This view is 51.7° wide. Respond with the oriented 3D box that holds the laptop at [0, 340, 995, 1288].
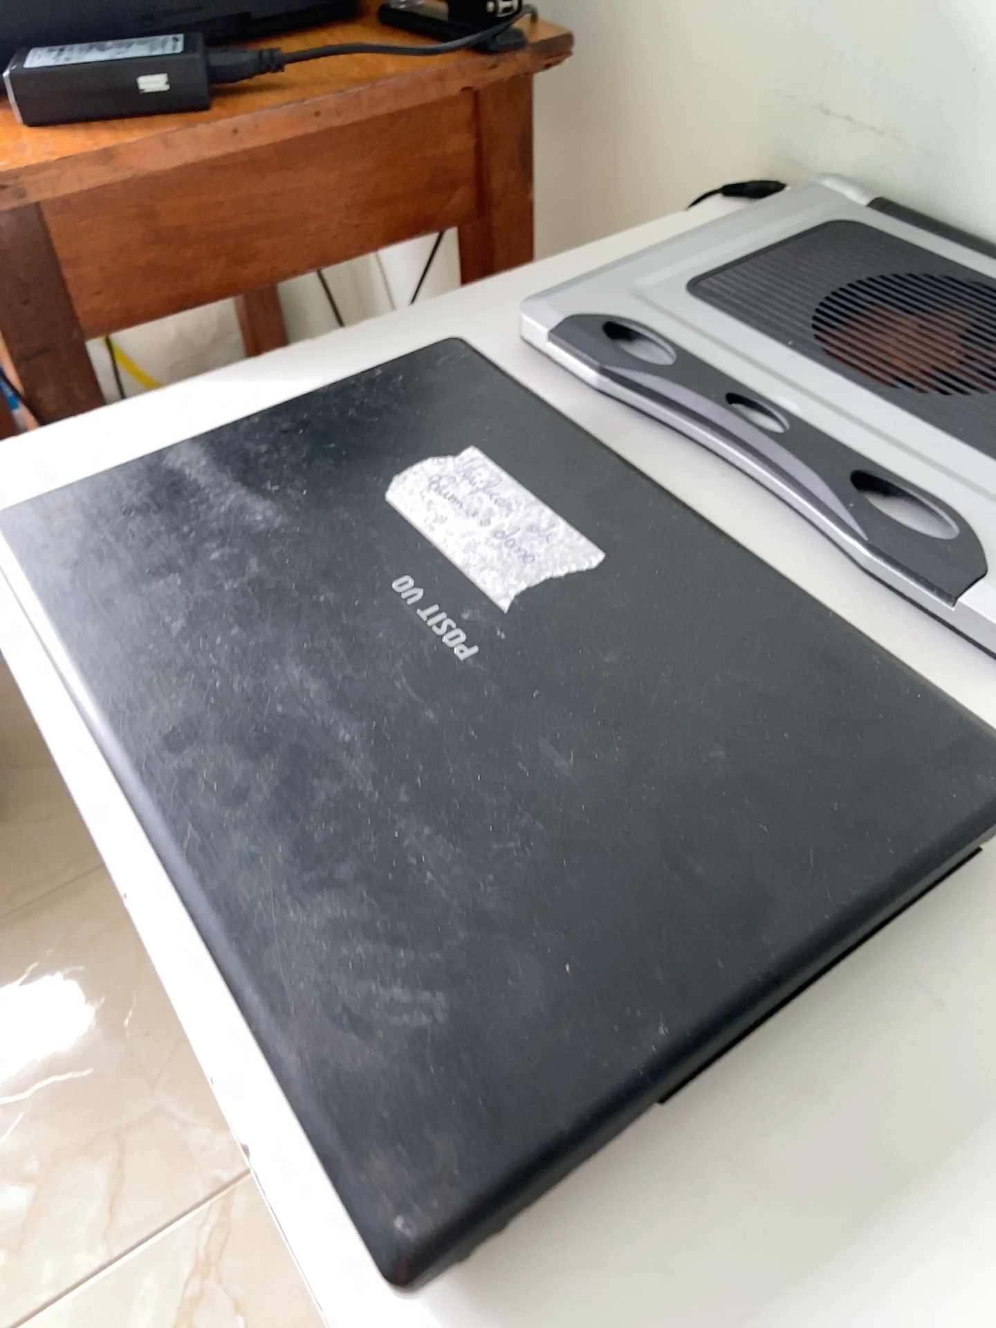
[{"bbox_3d":[-0.022,-0.007,0.371,0.234,0.008,0.329,-29,52,-21],"label":"laptop"}]
